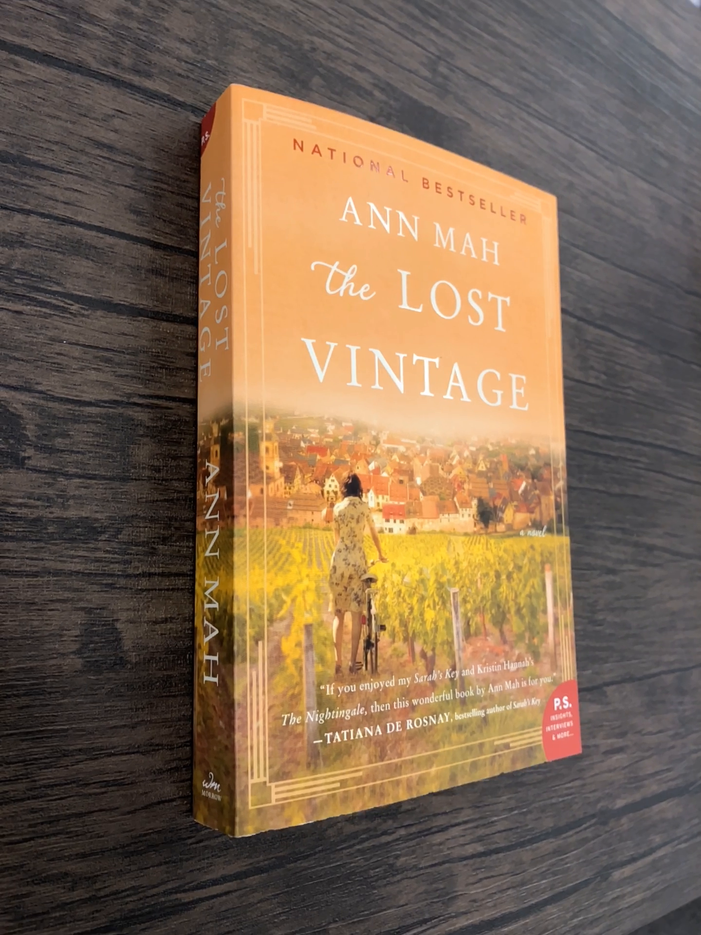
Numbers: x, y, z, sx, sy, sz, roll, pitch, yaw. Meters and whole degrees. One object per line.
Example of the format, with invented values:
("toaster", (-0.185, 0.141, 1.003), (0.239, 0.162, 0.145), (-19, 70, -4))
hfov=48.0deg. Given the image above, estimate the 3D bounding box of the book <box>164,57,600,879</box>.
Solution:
("book", (0.014, 0.000, 0.246), (0.134, 0.040, 0.200), (4, 82, -36))
